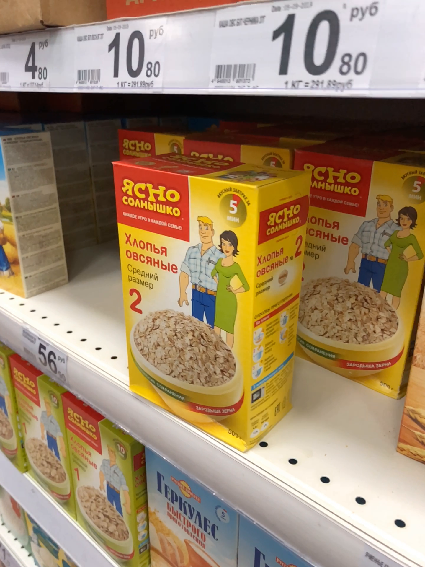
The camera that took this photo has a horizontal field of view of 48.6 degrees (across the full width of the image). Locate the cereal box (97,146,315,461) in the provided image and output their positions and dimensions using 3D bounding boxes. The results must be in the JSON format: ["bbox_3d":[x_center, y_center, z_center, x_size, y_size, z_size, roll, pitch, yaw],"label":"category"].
[{"bbox_3d":[-0.007,0.005,0.346,0.130,0.189,0.070,18,29,38],"label":"cereal box"}]
